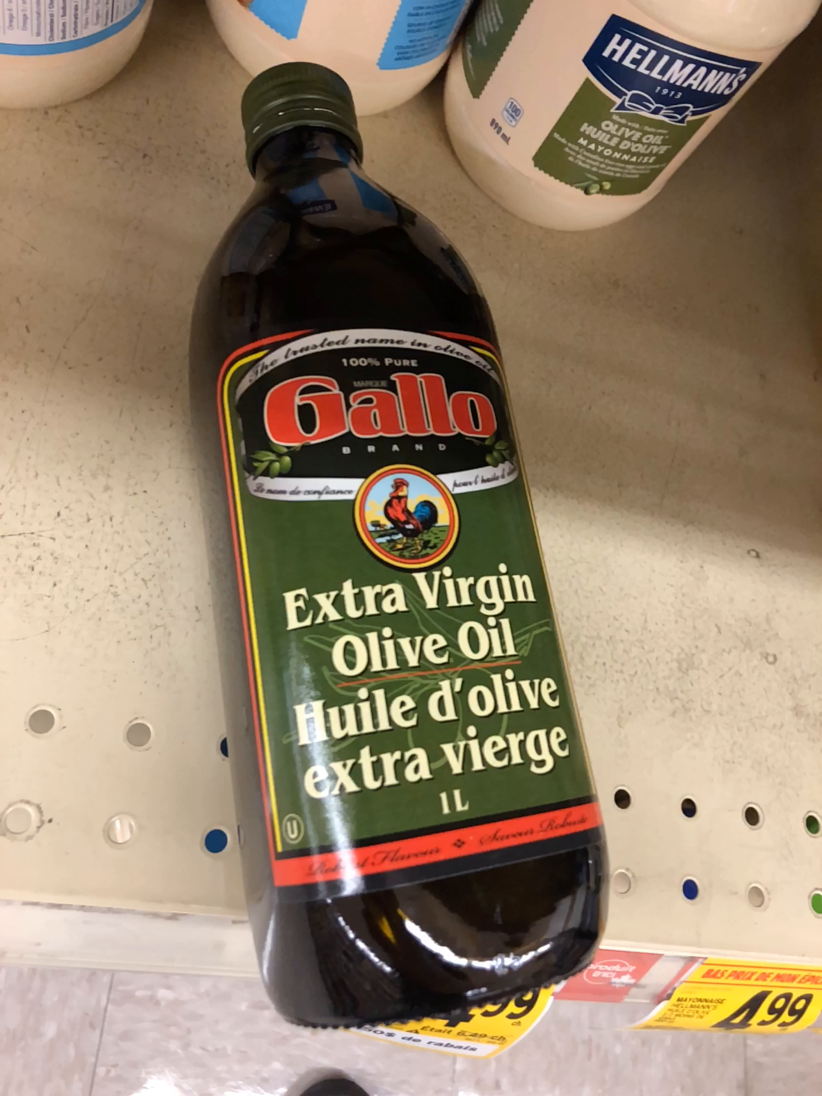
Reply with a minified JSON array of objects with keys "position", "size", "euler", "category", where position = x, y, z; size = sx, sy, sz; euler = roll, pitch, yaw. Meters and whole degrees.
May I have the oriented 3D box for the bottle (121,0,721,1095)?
[{"position":[-0.017,-0.025,0.246],"size":[0.090,0.090,0.271],"euler":[-4,73,-22],"category":"bottle"}]
